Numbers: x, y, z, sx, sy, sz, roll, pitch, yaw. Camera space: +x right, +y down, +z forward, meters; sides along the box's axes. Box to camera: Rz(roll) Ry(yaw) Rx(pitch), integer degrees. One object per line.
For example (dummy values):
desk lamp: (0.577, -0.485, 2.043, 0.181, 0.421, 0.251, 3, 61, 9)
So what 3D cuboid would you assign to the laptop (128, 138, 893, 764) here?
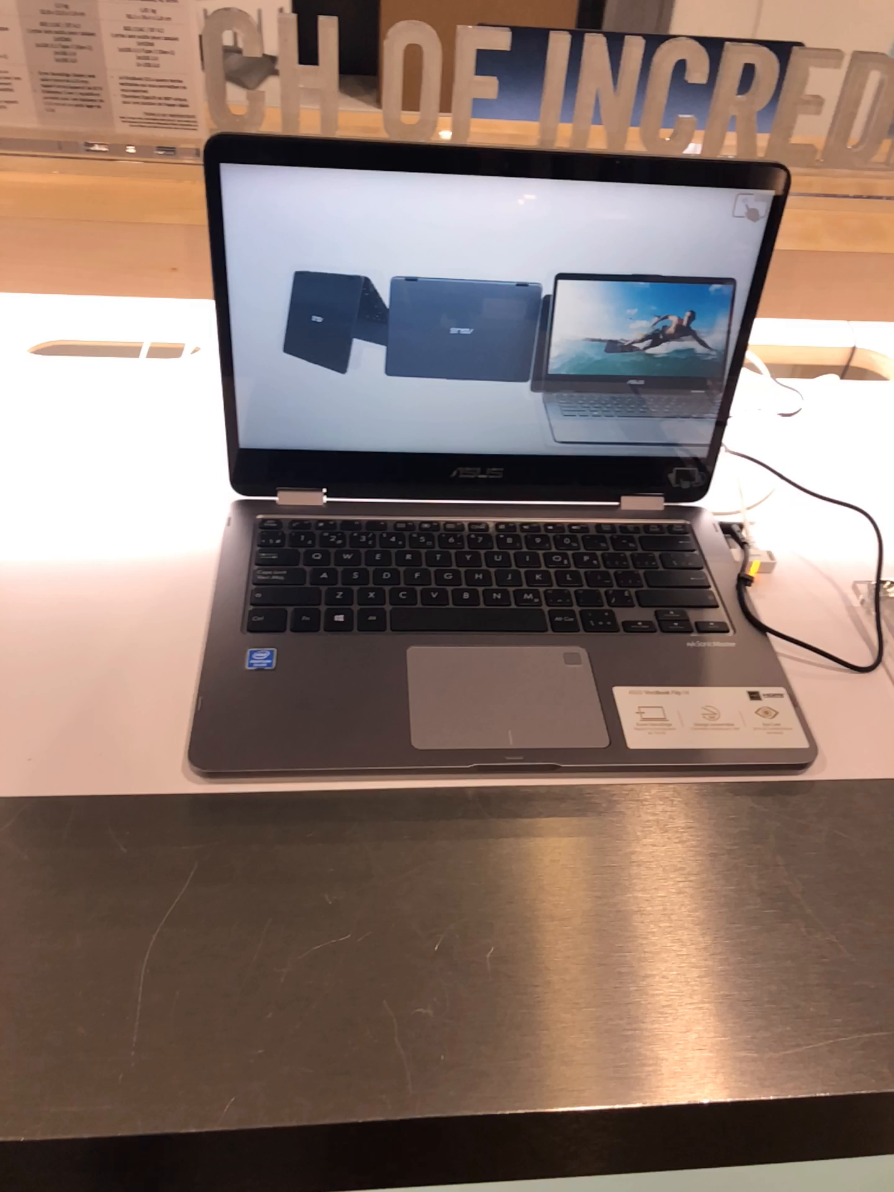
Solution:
laptop: (0.033, -0.070, 0.481, 0.303, 0.211, 0.211, 0, 42, -5)
